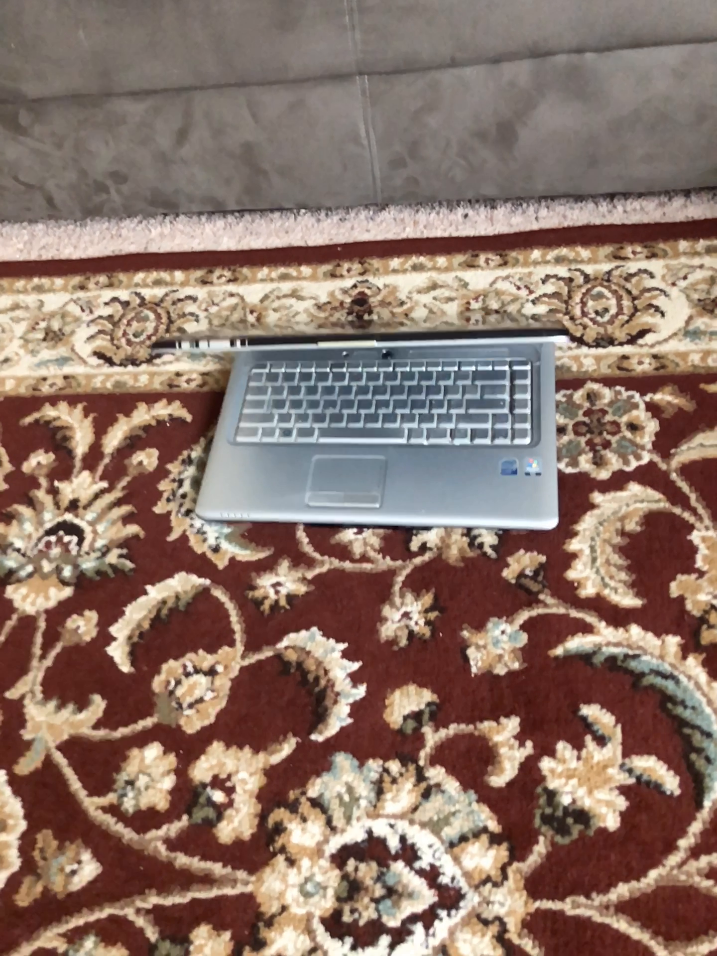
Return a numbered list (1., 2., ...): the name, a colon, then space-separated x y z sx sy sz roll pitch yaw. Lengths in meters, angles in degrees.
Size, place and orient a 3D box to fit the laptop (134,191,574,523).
1. laptop: 0.014 -0.110 0.734 0.342 0.164 0.244 1 55 10
